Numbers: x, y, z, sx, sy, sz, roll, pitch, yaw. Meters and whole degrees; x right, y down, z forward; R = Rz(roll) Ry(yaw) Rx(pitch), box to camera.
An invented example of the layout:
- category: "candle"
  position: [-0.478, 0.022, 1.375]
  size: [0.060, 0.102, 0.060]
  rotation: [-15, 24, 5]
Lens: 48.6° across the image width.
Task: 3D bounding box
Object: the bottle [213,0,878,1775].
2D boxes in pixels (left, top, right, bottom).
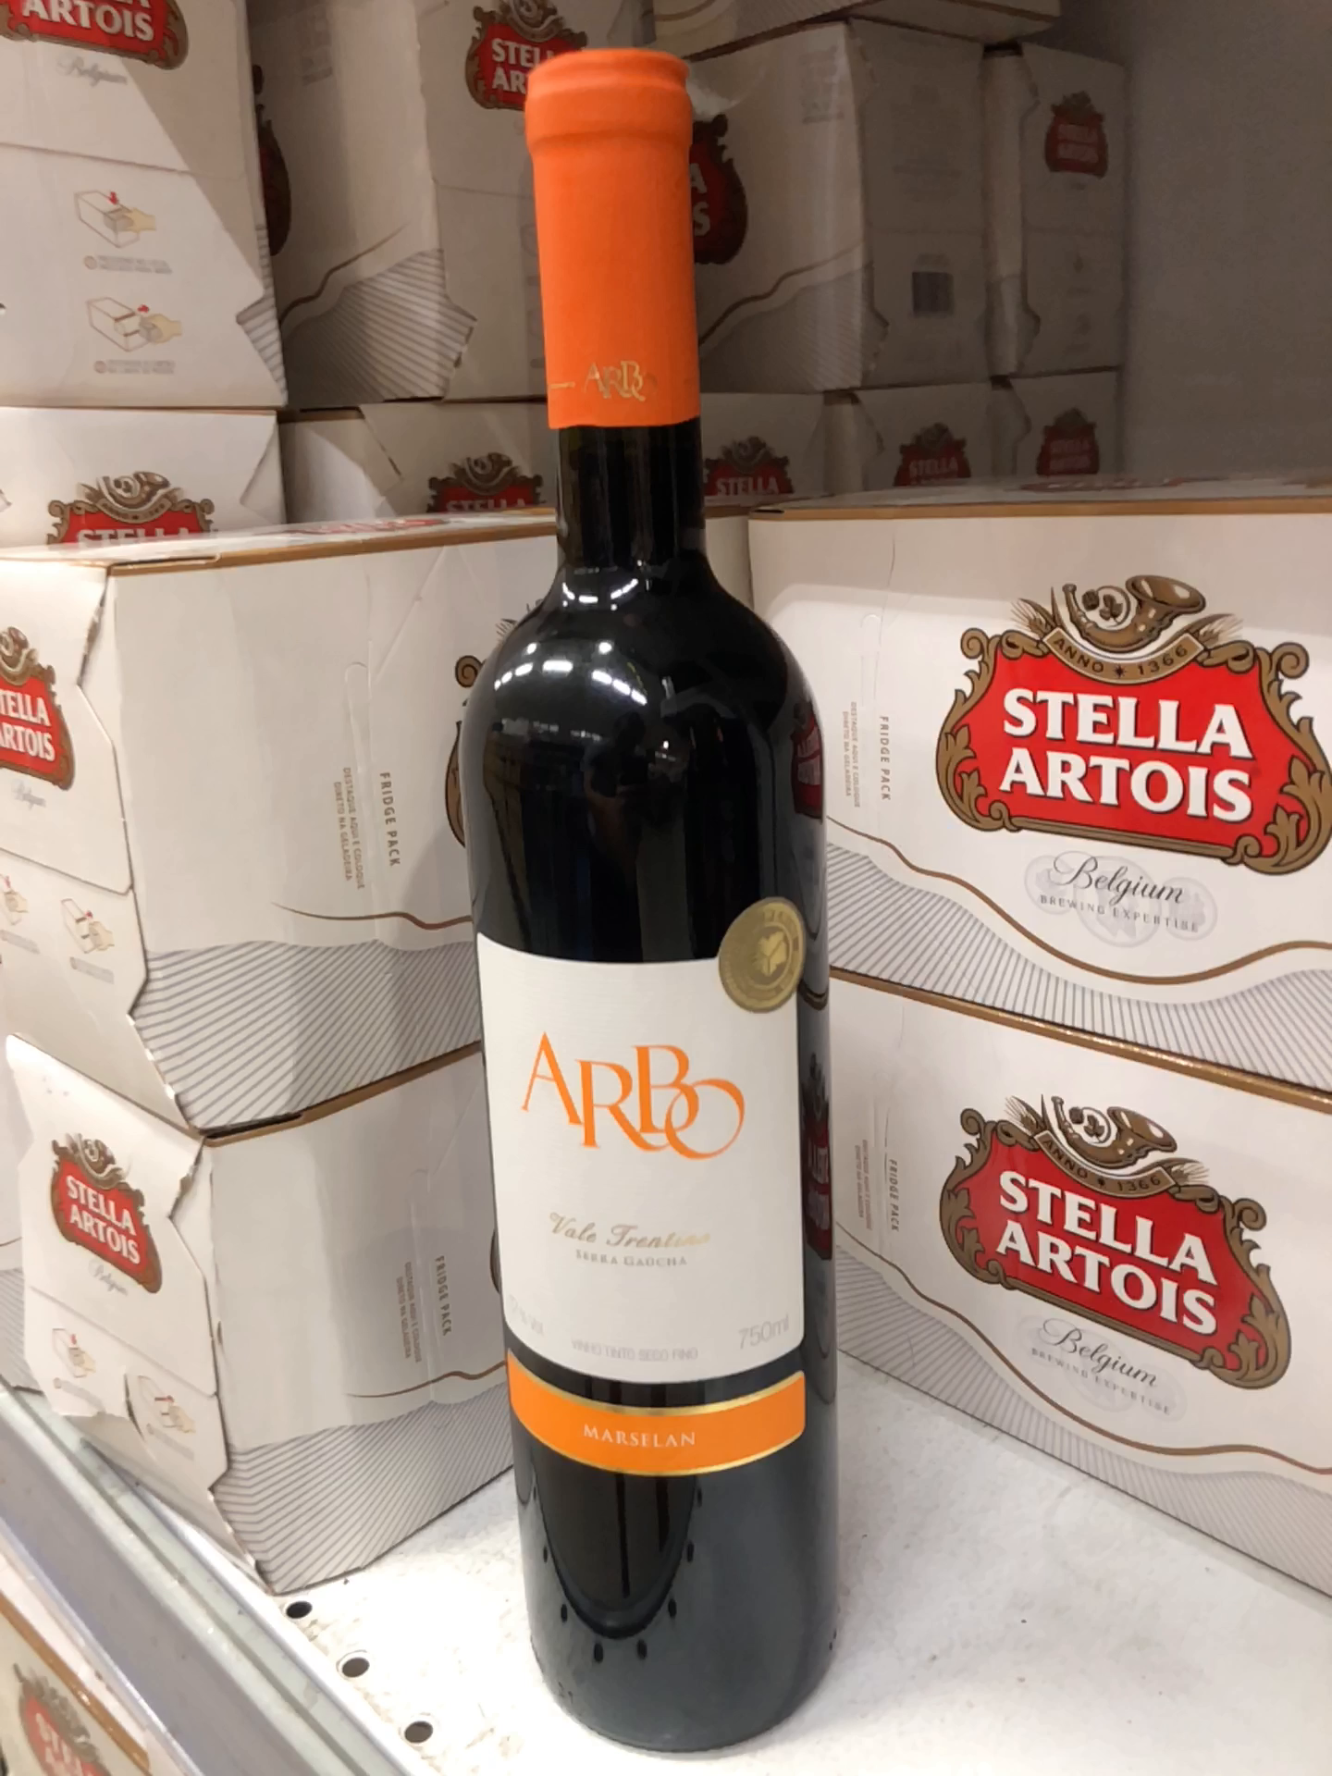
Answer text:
- category: "bottle"
  position: [-0.006, 0.015, 0.272]
  size: [0.080, 0.308, 0.070]
  rotation: [-1, 17, 9]
